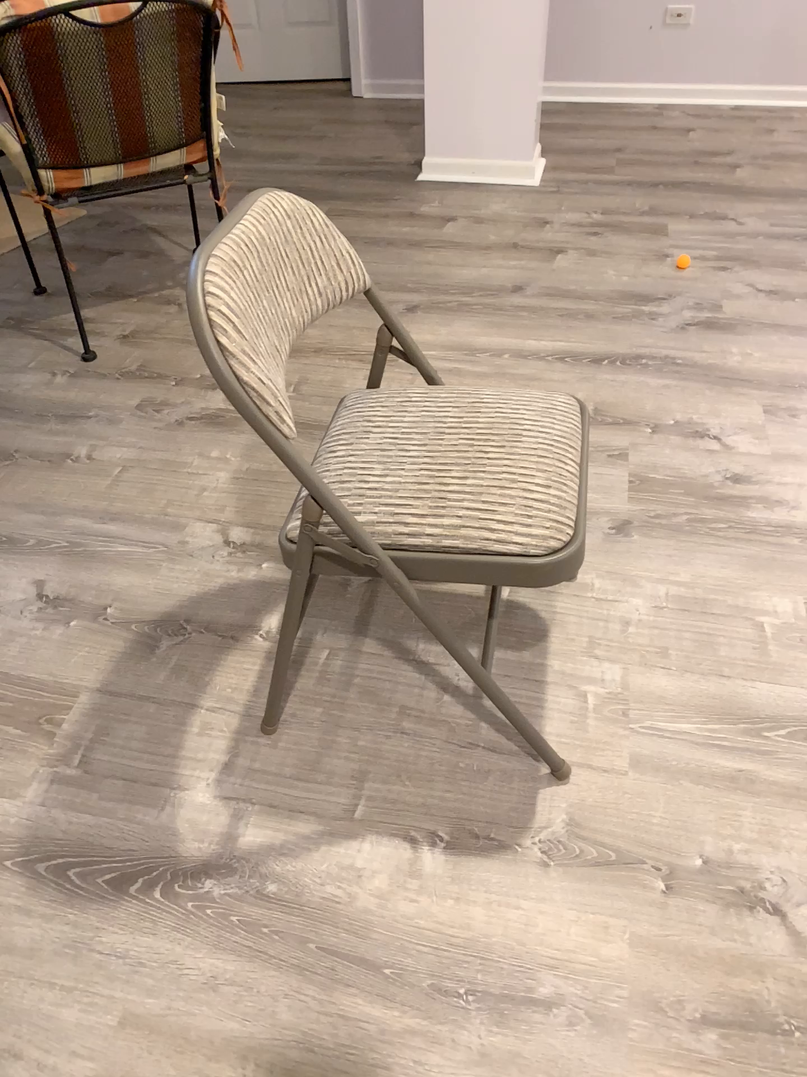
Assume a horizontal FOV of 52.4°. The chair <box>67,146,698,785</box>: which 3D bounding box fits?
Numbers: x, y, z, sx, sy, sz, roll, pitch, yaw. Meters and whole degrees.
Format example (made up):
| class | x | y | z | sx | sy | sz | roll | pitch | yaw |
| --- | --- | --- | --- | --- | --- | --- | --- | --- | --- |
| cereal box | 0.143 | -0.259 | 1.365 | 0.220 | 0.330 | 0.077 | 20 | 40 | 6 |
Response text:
| class | x | y | z | sx | sy | sz | roll | pitch | yaw |
| --- | --- | --- | --- | --- | --- | --- | --- | --- | --- |
| chair | 0.018 | -0.100 | 1.167 | 0.584 | 0.708 | 0.506 | 4 | 42 | 8 |
